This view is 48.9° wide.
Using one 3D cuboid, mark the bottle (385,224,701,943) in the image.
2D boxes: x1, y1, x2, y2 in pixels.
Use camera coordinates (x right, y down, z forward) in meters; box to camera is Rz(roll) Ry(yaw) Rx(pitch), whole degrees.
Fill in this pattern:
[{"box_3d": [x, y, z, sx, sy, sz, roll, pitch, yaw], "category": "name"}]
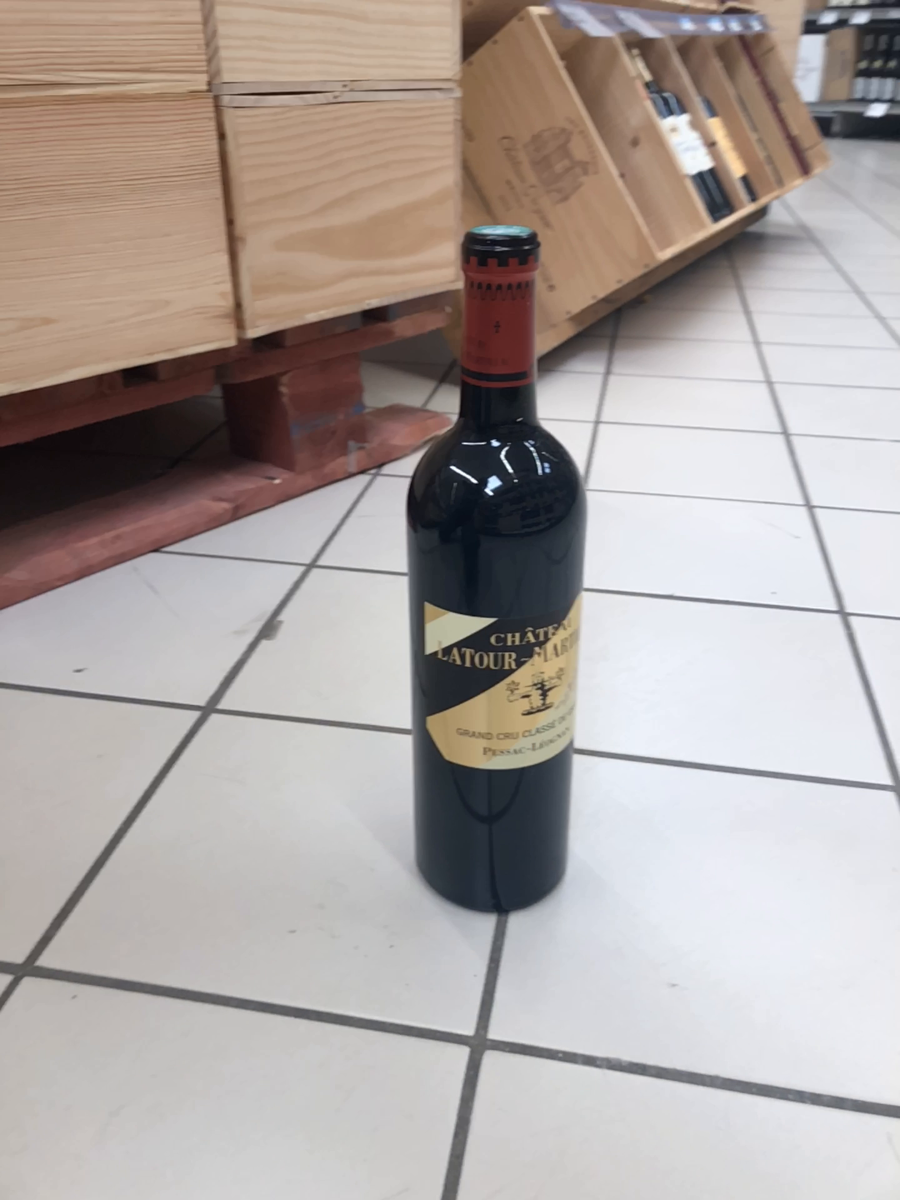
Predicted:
[{"box_3d": [0.030, -0.001, 0.411, 0.080, 0.278, 0.080, 0, 28, 0], "category": "bottle"}]
